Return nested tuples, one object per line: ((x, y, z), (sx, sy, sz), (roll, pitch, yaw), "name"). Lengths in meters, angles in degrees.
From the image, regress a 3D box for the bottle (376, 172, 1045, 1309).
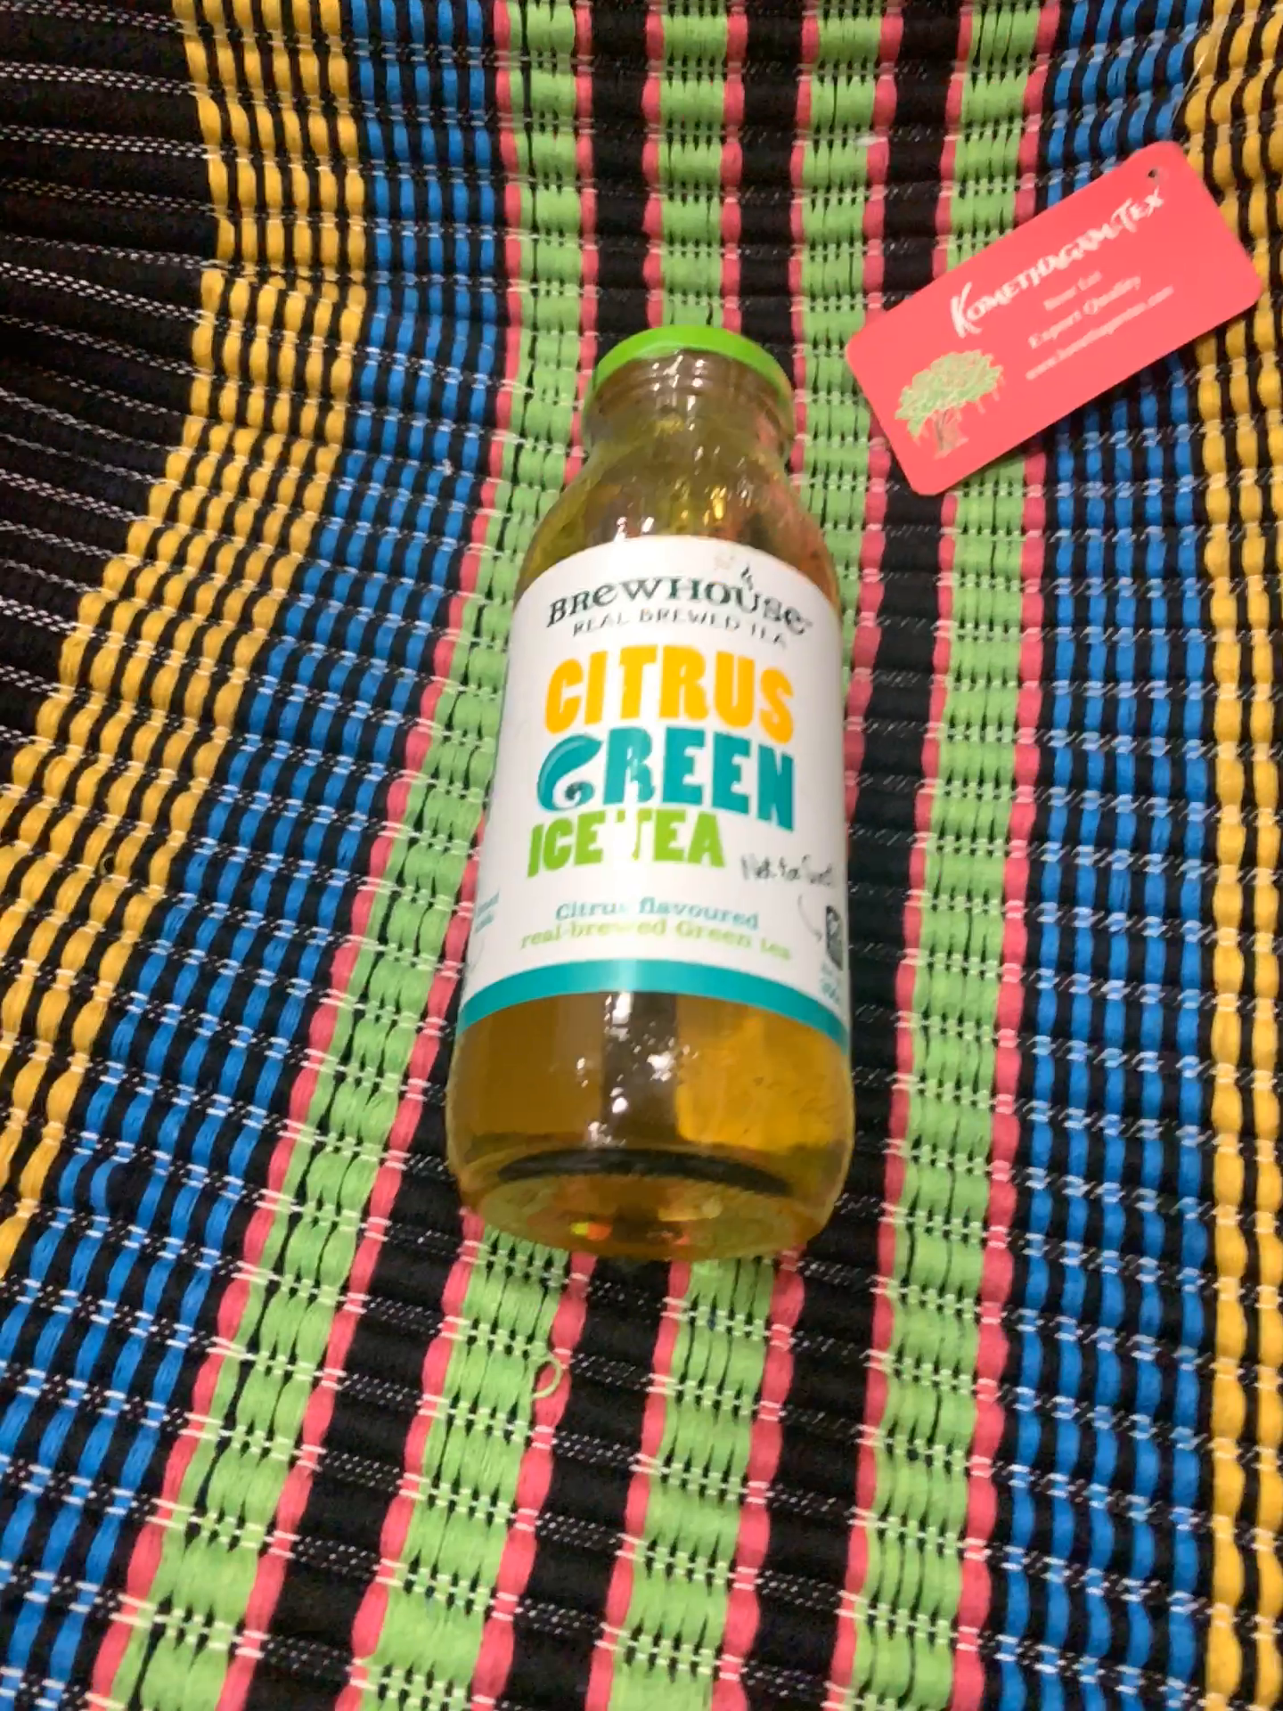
((0.014, -0.029, 0.238), (0.080, 0.070, 0.190), (8, 57, -2), "bottle")
